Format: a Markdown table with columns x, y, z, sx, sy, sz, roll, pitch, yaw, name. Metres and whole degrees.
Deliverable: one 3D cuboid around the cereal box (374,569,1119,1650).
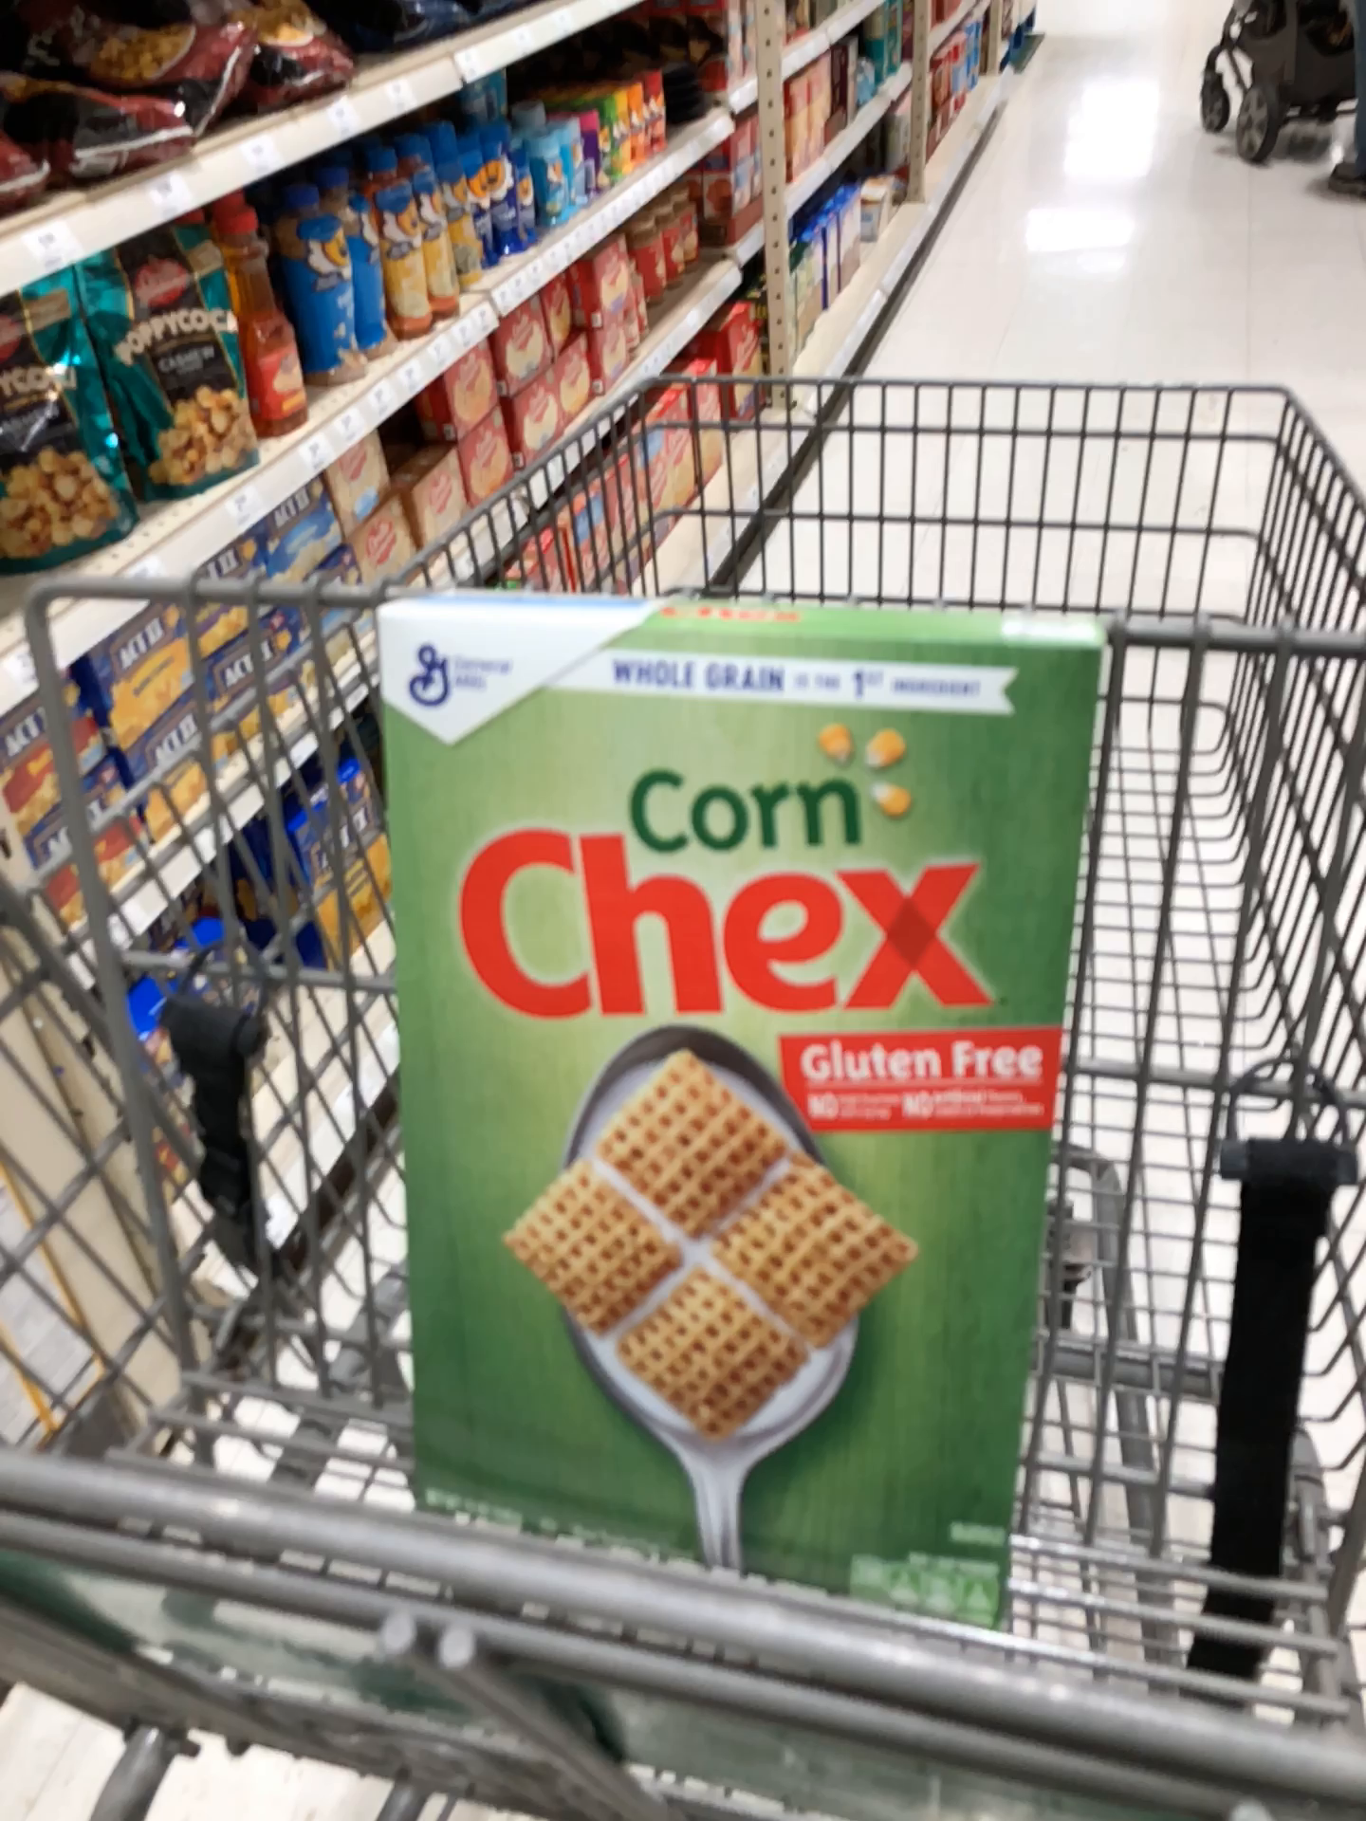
| x | y | z | sx | sy | sz | roll | pitch | yaw | name |
| --- | --- | --- | --- | --- | --- | --- | --- | --- | --- |
| 0.015 | 0.058 | 0.460 | 0.200 | 0.310 | 0.060 | 6 | 17 | 15 | cereal box |
